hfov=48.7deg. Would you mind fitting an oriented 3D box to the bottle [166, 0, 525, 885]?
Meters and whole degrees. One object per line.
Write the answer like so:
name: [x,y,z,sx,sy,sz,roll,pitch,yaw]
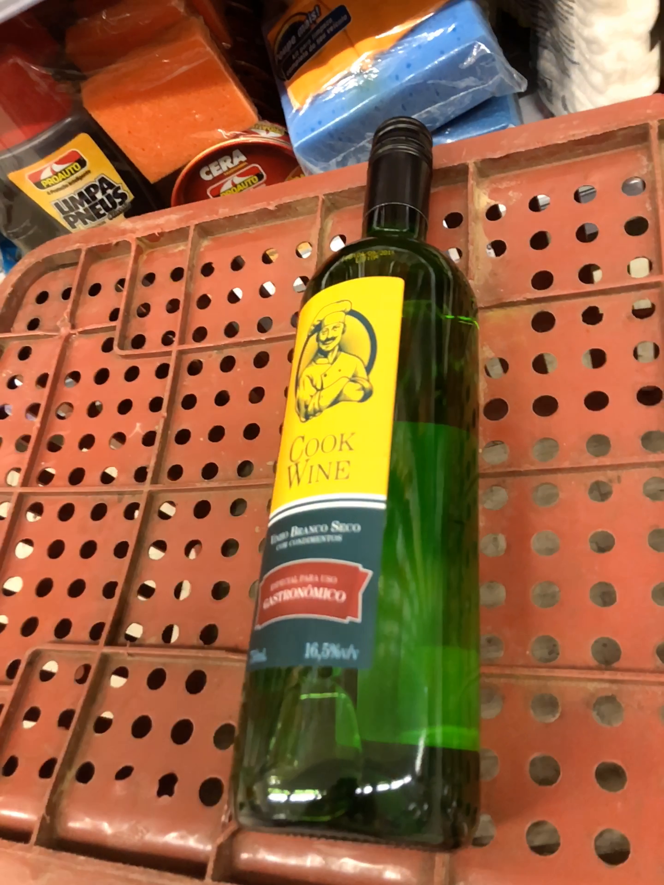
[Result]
bottle: [0.017,-0.024,0.276,0.080,0.060,0.321,-13,58,31]
